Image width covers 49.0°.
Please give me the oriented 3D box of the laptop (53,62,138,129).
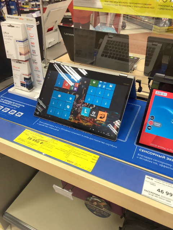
[{"bbox_3d":[0.048,-0.073,0.853,0.336,0.150,0.211,16,8,21],"label":"laptop"}]
